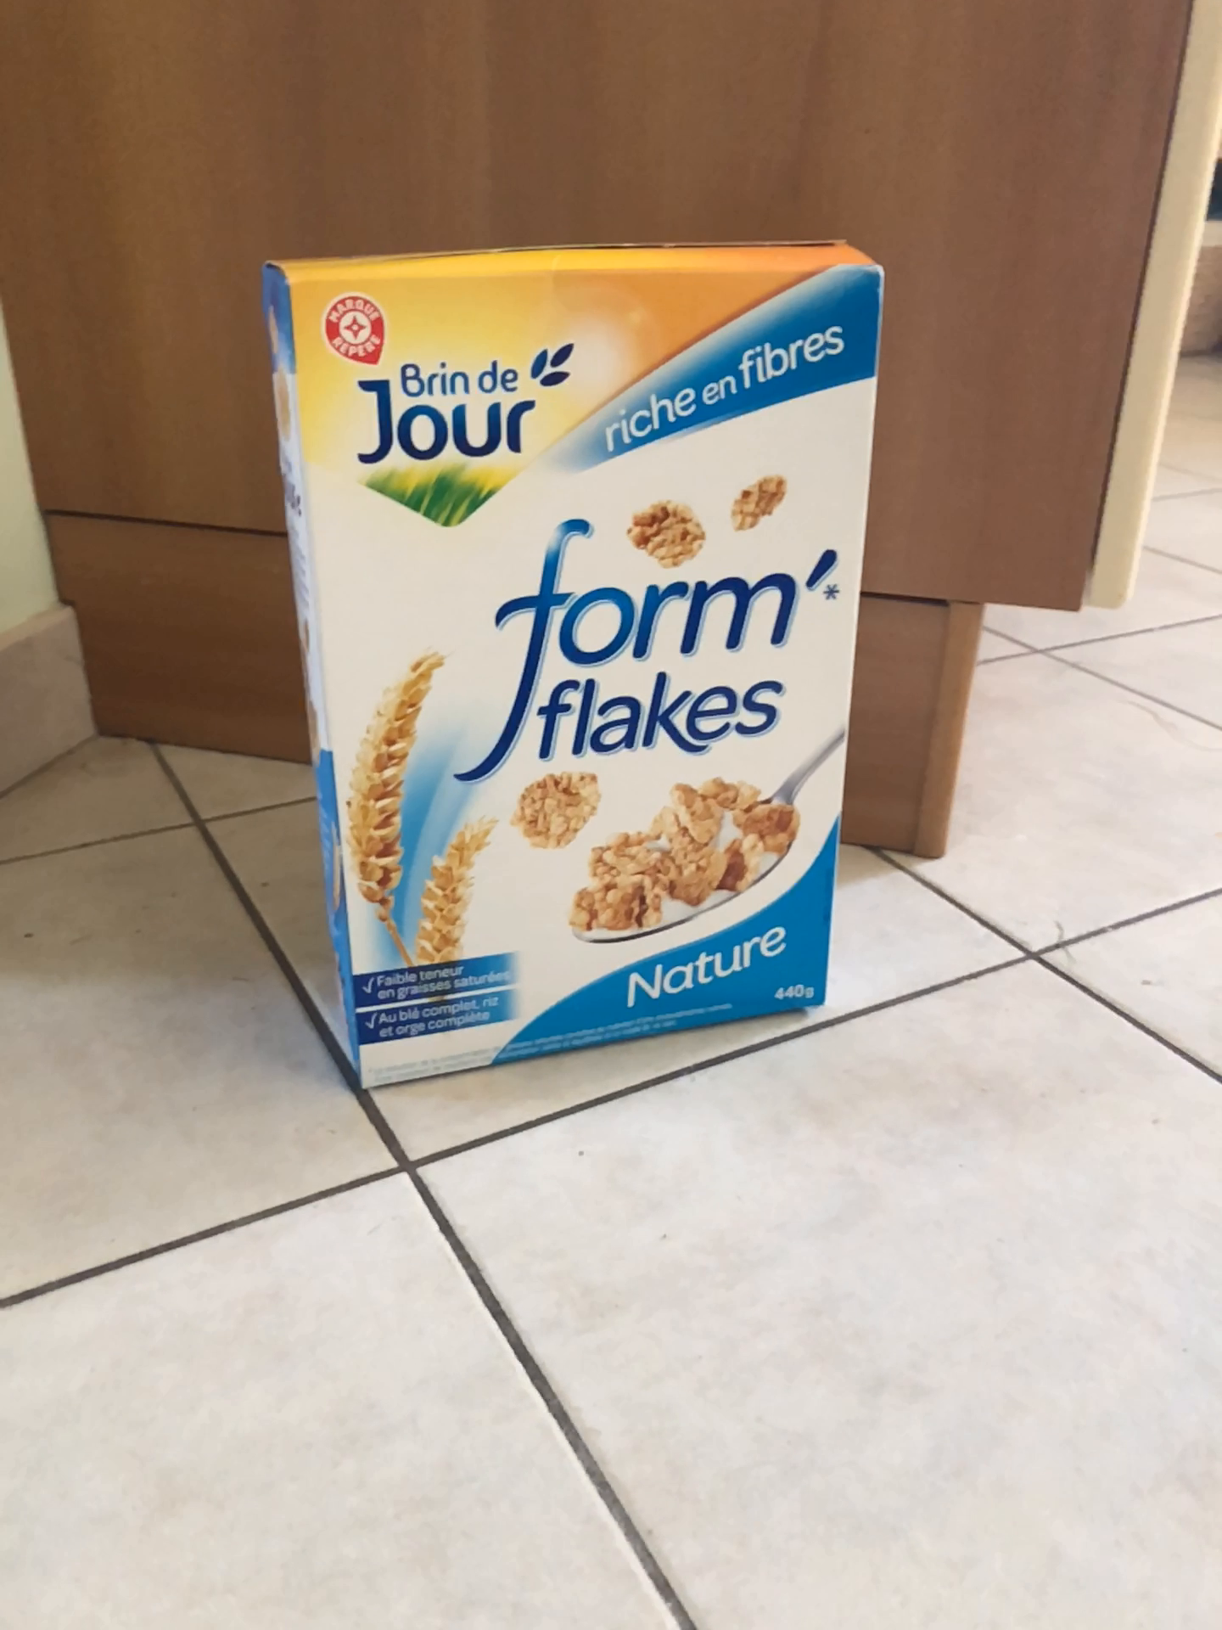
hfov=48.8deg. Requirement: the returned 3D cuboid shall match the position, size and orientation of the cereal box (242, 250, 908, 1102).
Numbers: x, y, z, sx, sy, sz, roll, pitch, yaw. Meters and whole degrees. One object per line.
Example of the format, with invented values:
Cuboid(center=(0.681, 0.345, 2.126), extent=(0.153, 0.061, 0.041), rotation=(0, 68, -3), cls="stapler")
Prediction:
Cuboid(center=(-0.013, -0.051, 0.484), extent=(0.200, 0.279, 0.070), rotation=(-7, 25, -17), cls="cereal box")
